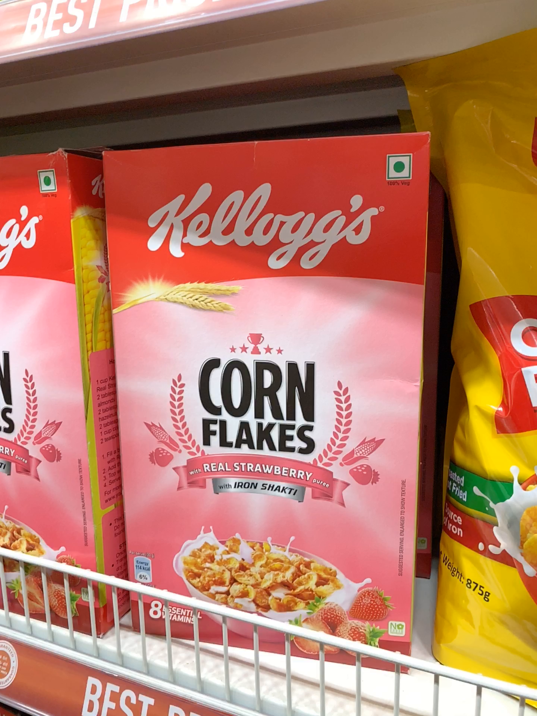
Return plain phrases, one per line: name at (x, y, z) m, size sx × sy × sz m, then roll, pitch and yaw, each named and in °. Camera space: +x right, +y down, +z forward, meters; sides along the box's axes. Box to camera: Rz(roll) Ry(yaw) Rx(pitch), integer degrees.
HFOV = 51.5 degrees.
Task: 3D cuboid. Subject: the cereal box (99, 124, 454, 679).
cereal box at (0.010, 0.021, 0.326) m, size 0.170 × 0.269 × 0.090 m, roll 1°, pitch 10°, yaw 13°
